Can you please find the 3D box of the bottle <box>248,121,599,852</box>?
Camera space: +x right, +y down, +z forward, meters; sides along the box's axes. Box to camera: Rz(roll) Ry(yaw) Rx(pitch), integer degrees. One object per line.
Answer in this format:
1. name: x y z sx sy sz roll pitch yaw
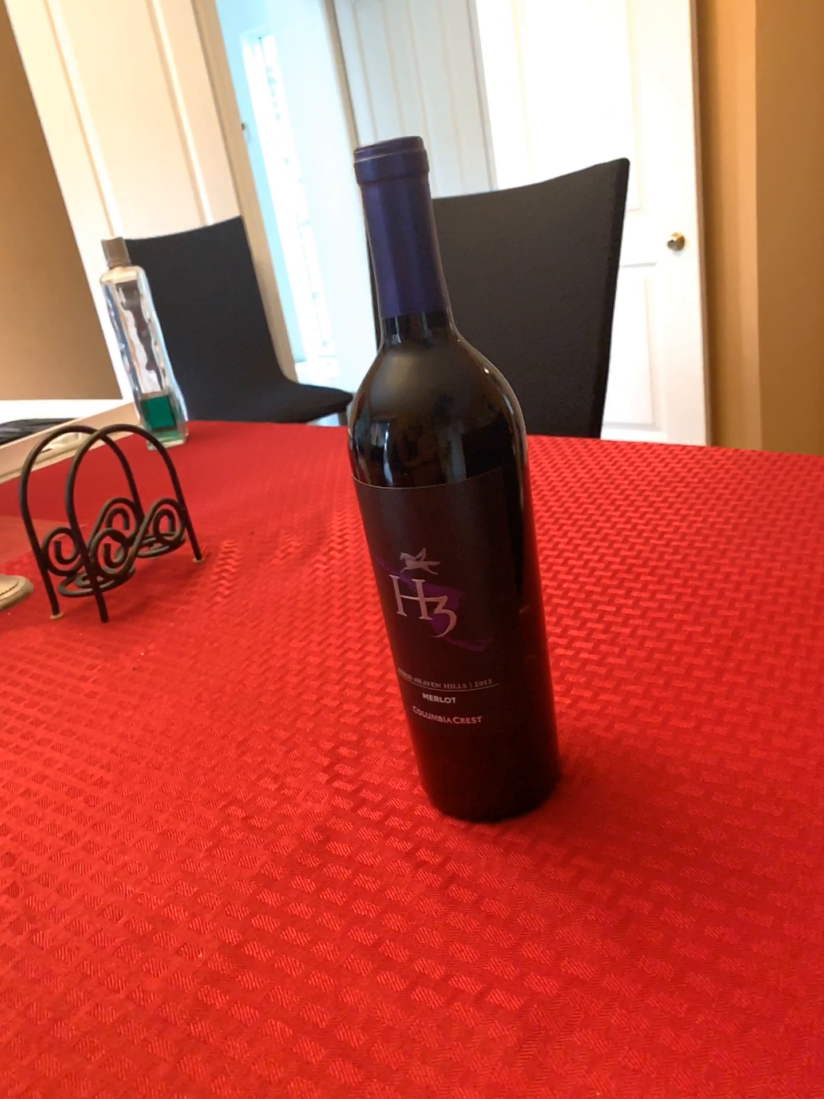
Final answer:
1. bottle: 0.019 -0.017 0.366 0.080 0.289 0.080 -9 22 4
